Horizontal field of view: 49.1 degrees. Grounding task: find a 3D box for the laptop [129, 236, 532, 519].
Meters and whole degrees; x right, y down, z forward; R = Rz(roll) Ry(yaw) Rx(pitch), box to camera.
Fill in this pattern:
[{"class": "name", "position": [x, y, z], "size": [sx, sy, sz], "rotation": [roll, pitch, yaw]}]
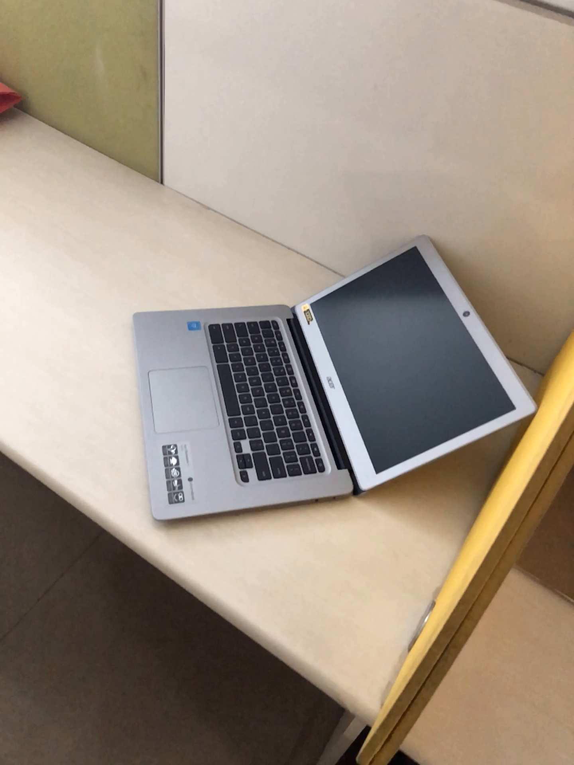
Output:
[{"class": "laptop", "position": [0.025, -0.030, 0.785], "size": [0.409, 0.123, 0.321], "rotation": [-5, 48, -13]}]
